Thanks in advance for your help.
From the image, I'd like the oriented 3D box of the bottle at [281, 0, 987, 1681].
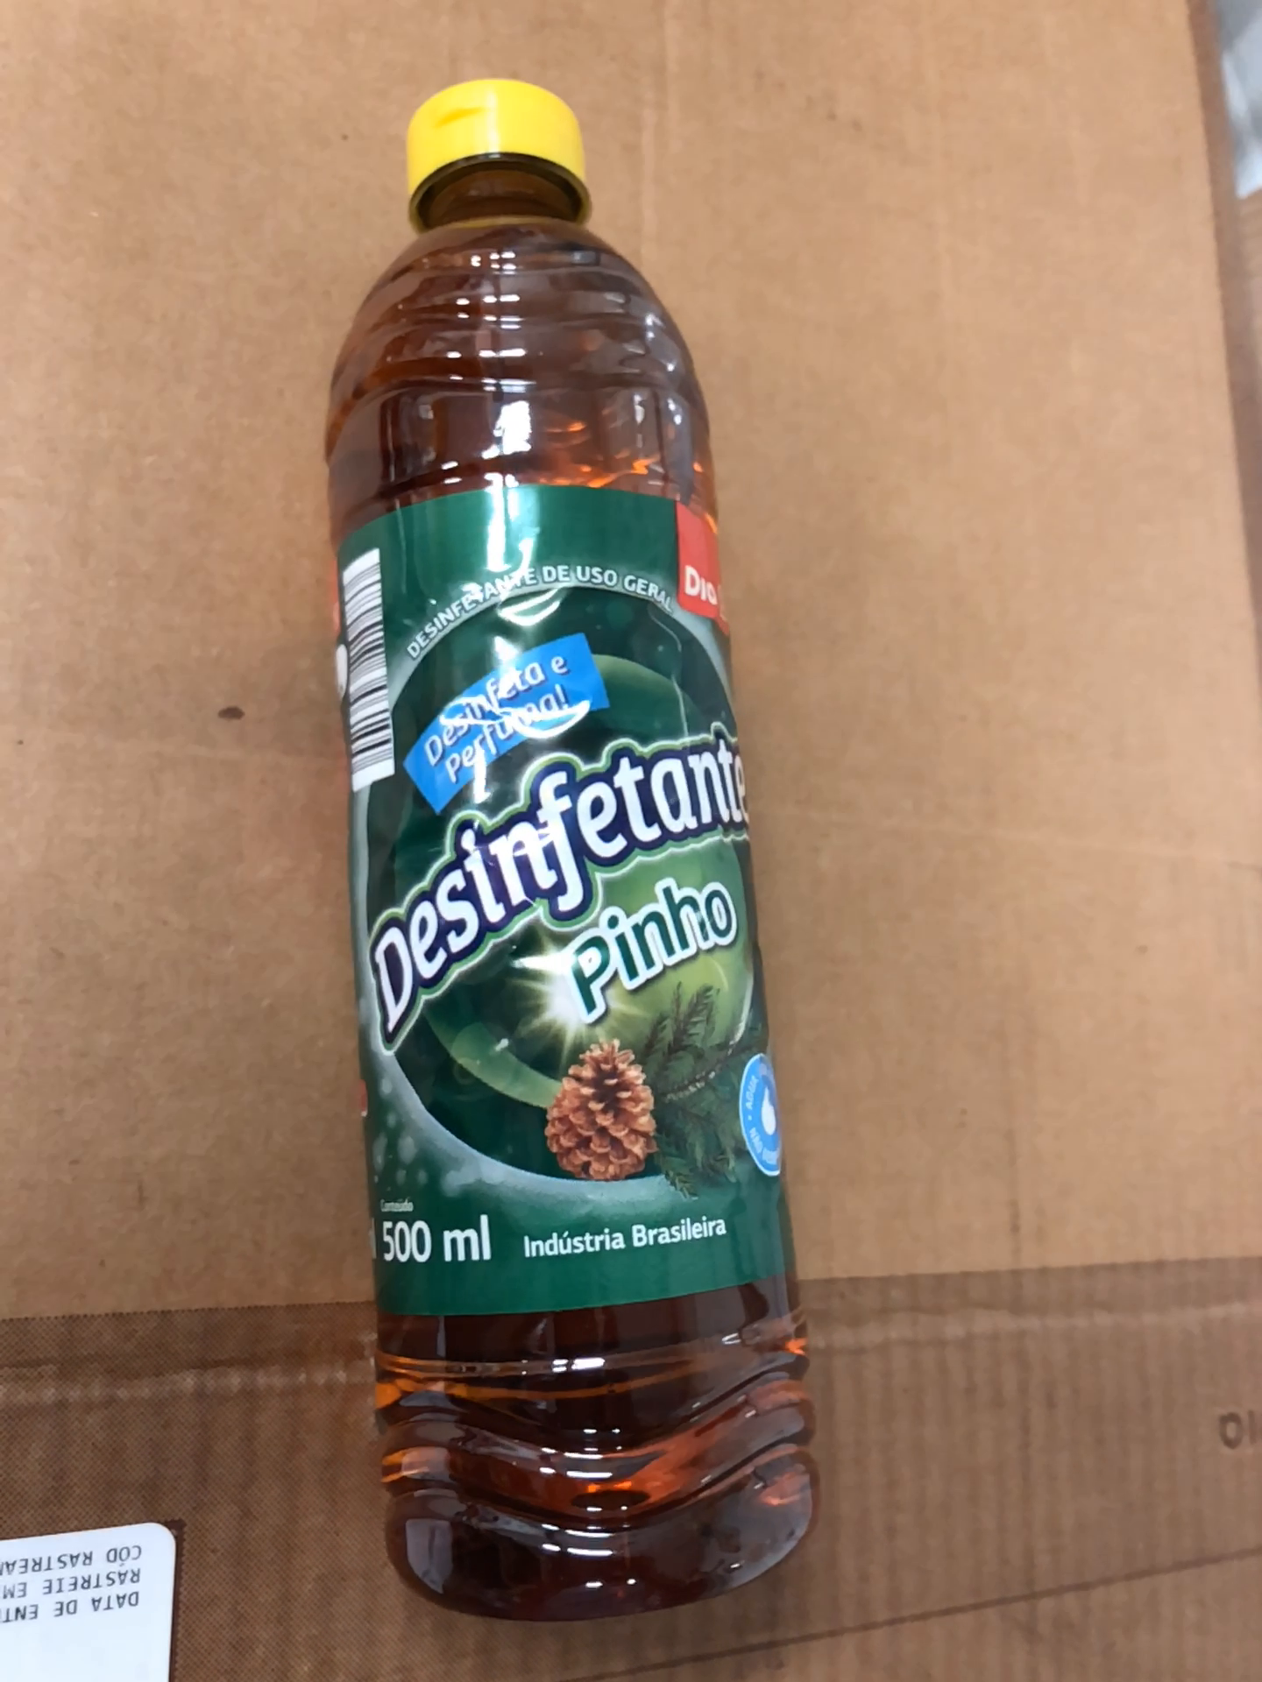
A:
[{"bbox_3d":[-0.011,-0.008,0.201,0.060,0.070,0.220,-4,76,-14],"label":"bottle"}]
